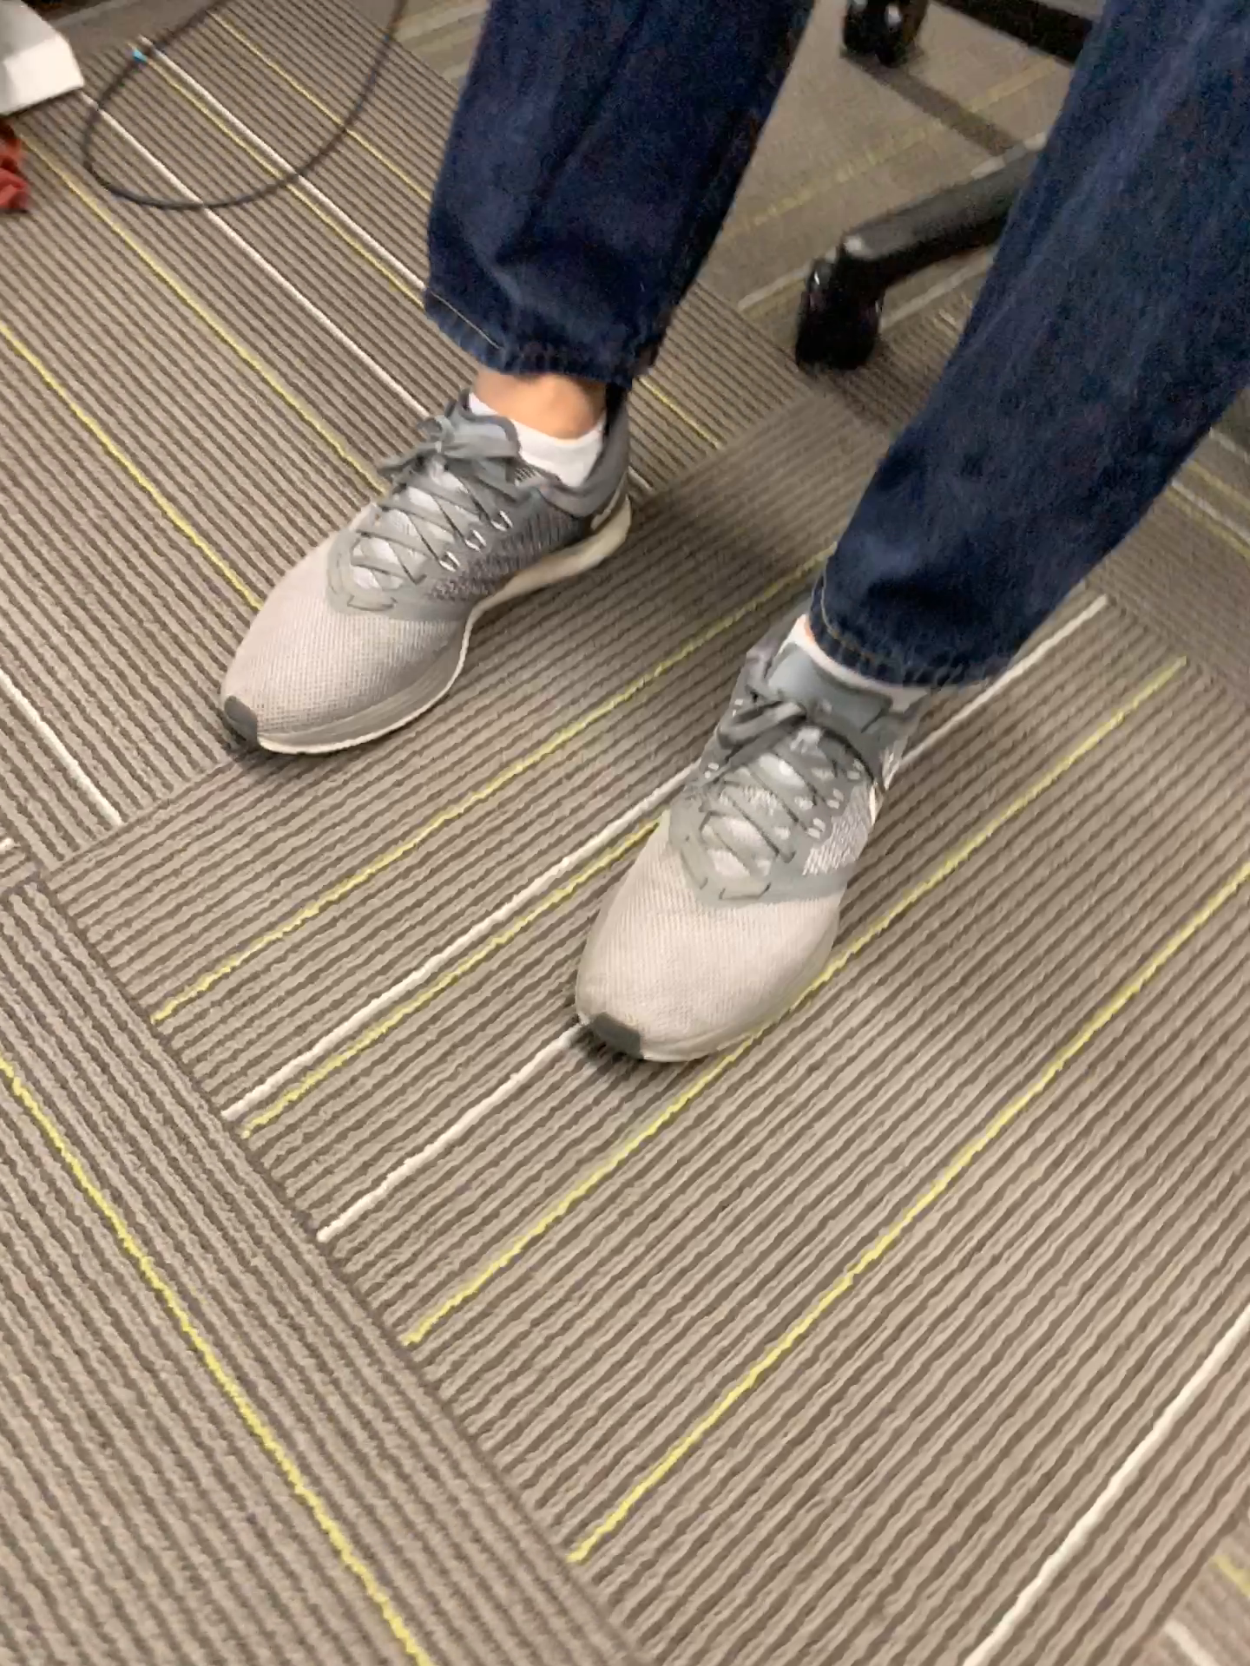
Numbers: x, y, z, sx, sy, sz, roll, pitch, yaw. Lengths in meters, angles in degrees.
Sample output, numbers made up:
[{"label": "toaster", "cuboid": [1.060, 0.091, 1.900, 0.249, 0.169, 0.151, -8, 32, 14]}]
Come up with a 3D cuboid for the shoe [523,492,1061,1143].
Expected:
[{"label": "shoe", "cuboid": [0.083, -0.013, 0.641, 0.120, 0.123, 0.290, 32, 64, 12]}]

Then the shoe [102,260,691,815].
[{"label": "shoe", "cuboid": [-0.111, -0.167, 0.702, 0.120, 0.123, 0.290, 40, 66, 16]}]
